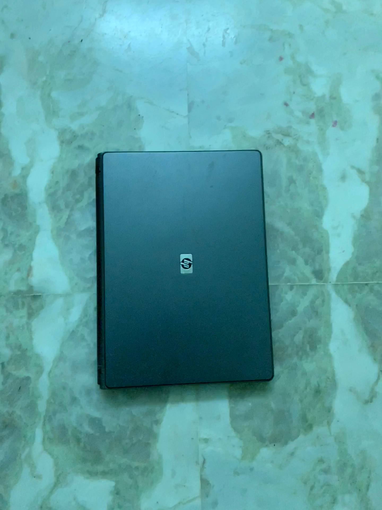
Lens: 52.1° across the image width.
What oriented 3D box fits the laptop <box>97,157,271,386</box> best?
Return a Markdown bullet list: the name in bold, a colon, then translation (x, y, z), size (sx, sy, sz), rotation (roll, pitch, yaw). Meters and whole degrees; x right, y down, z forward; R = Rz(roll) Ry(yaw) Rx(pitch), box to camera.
- **laptop**: translation (-0.012, 0.018, 0.540), size (0.226, 0.001, 0.310), rotation (-2, 85, -2)
